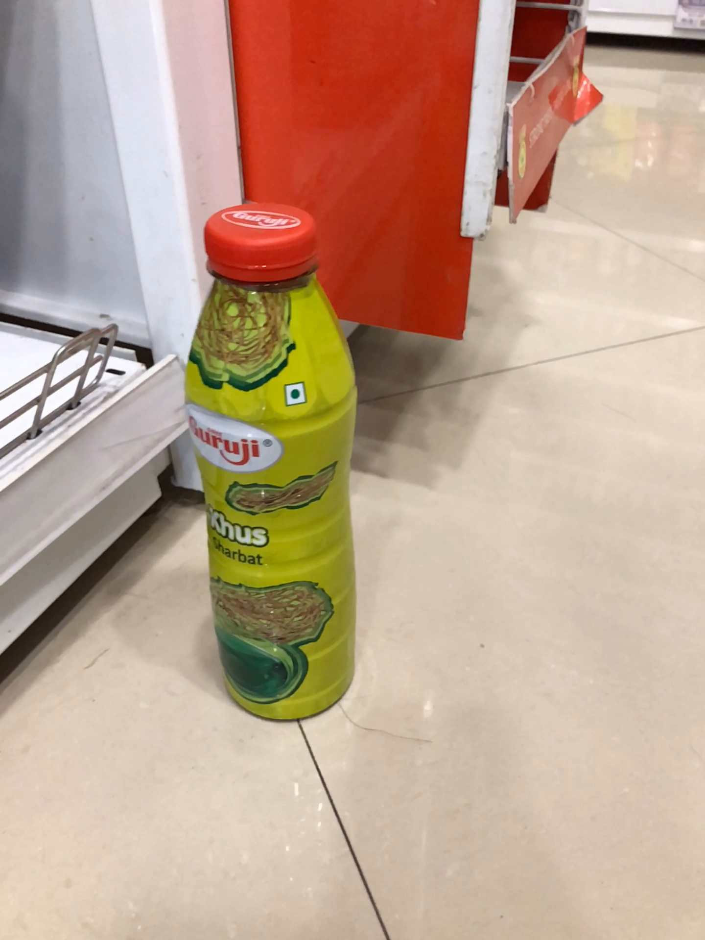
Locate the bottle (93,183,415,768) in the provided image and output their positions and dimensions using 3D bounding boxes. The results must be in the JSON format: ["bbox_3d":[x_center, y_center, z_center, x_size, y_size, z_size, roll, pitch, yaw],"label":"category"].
[{"bbox_3d":[-0.032,0.012,0.346,0.080,0.238,0.080,0,36,0],"label":"bottle"}]
